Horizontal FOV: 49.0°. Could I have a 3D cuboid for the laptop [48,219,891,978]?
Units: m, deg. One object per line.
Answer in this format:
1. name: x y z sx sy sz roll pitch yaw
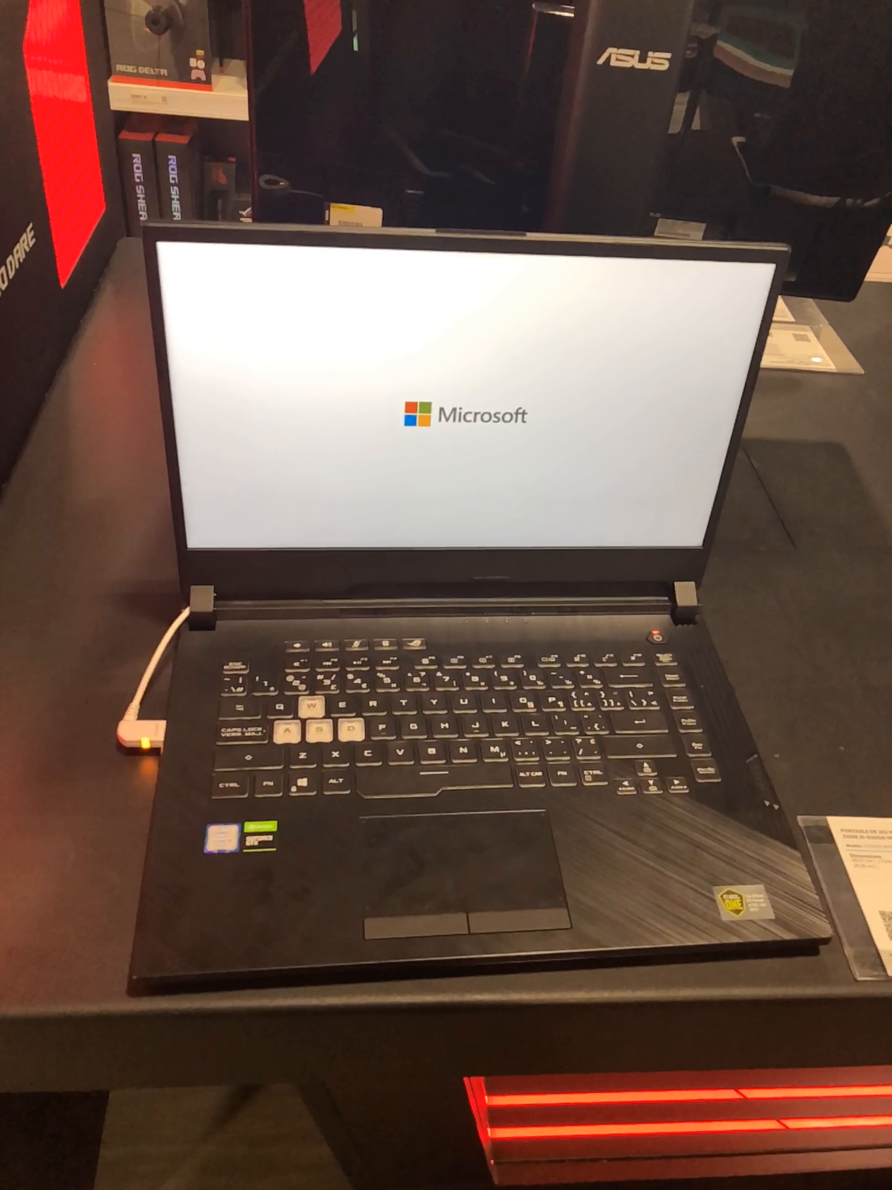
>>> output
1. laptop: 0.025 -0.003 0.521 0.360 0.268 0.276 0 42 -8
